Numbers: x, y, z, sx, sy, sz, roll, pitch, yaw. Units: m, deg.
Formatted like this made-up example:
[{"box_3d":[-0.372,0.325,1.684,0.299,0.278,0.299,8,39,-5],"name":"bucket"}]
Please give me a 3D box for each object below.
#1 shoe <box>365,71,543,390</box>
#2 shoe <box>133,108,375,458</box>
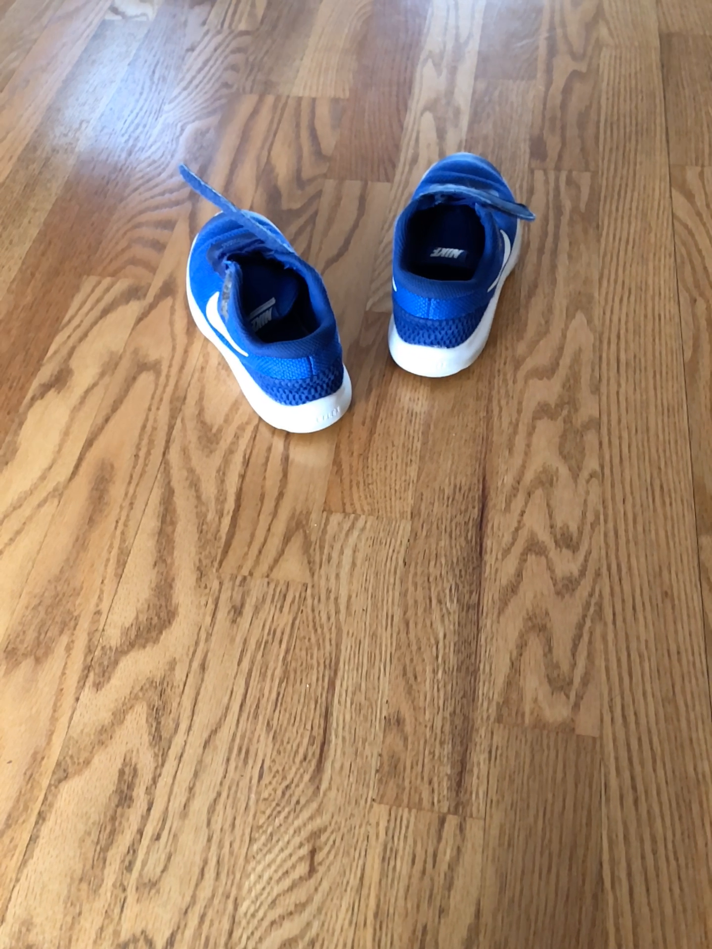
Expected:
[{"box_3d":[0.072,-0.177,0.551,0.093,0.092,0.215,7,58,8],"name":"shoe"},{"box_3d":[-0.070,-0.134,0.525,0.093,0.092,0.215,-18,58,-8],"name":"shoe"}]
